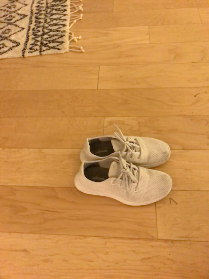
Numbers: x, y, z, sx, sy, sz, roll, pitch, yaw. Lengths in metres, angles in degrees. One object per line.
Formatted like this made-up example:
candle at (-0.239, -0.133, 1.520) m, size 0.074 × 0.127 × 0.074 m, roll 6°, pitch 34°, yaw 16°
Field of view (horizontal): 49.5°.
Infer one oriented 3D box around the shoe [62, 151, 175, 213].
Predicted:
shoe at (0.041, 0.112, 0.617) m, size 0.280 × 0.070 × 0.121 m, roll 4°, pitch 59°, yaw 9°

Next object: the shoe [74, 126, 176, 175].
shoe at (0.058, 0.031, 0.663) m, size 0.270 × 0.070 × 0.121 m, roll 0°, pitch 58°, yaw 6°
